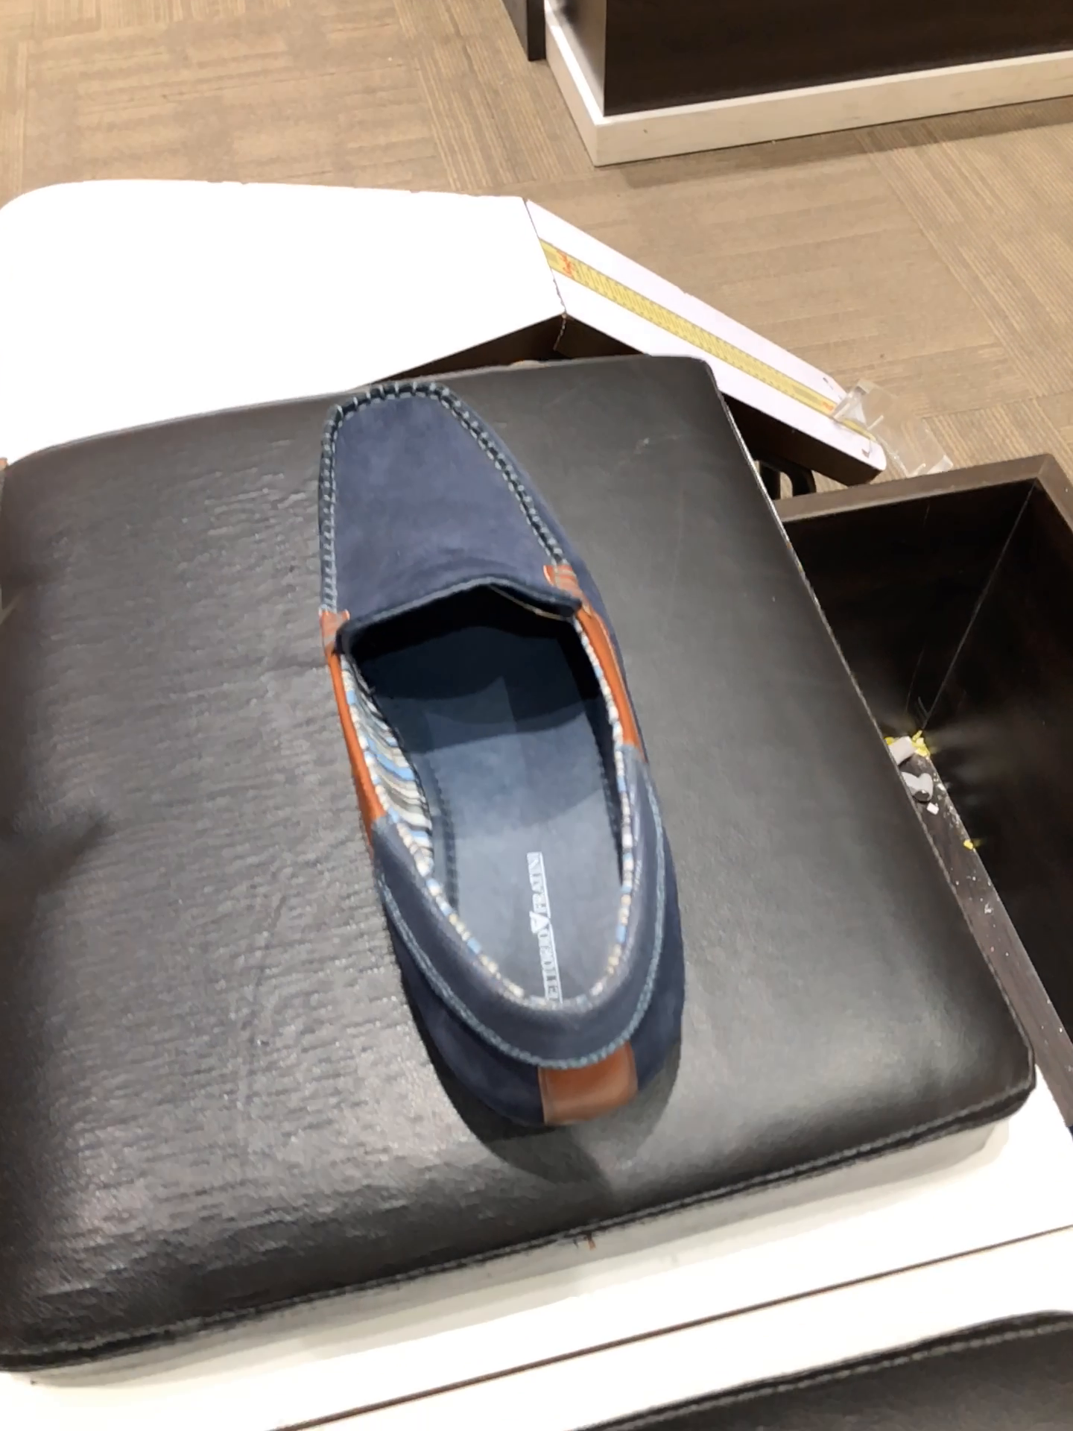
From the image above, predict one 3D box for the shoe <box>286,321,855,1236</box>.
[{"bbox_3d":[-0.007,0.004,0.409,0.110,0.100,0.292,-11,56,-7],"label":"shoe"}]
